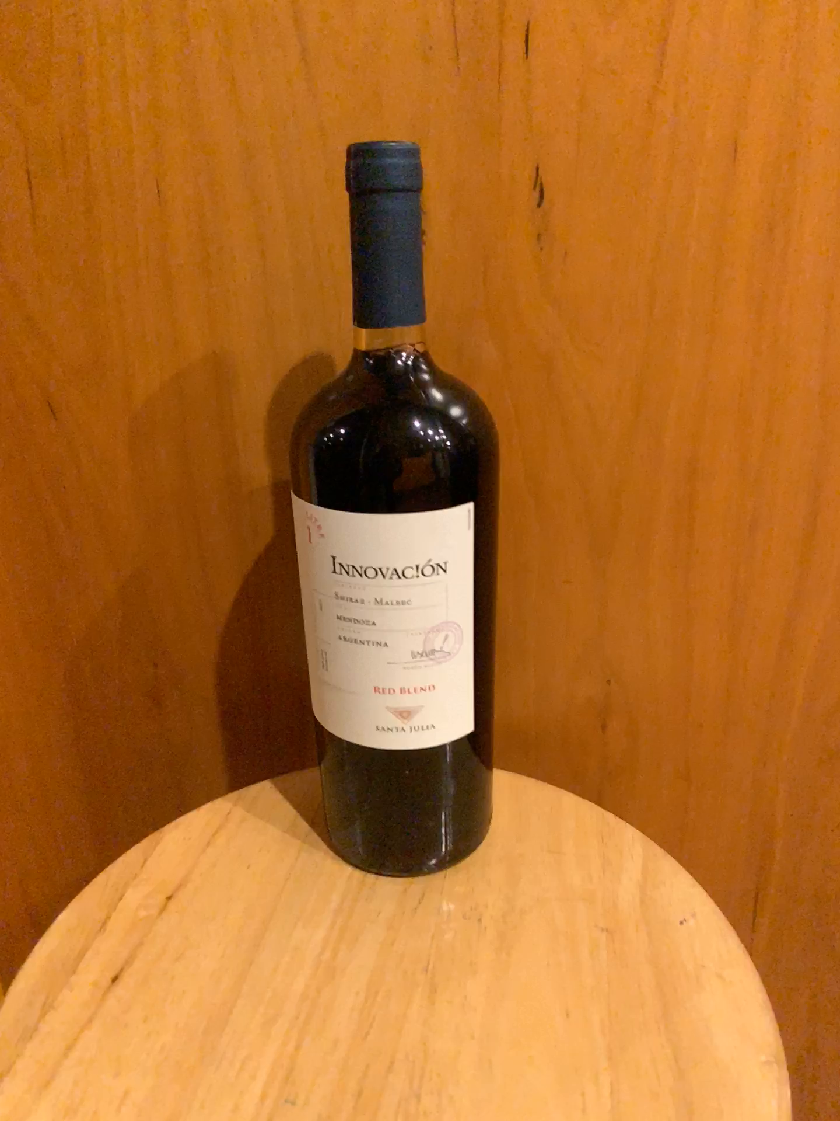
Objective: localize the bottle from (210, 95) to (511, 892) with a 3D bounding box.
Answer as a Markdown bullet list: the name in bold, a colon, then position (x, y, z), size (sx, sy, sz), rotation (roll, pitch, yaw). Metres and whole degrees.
- **bottle**: position (-0.012, -0.016, 0.355), size (0.090, 0.299, 0.080), rotation (2, 21, 8)
